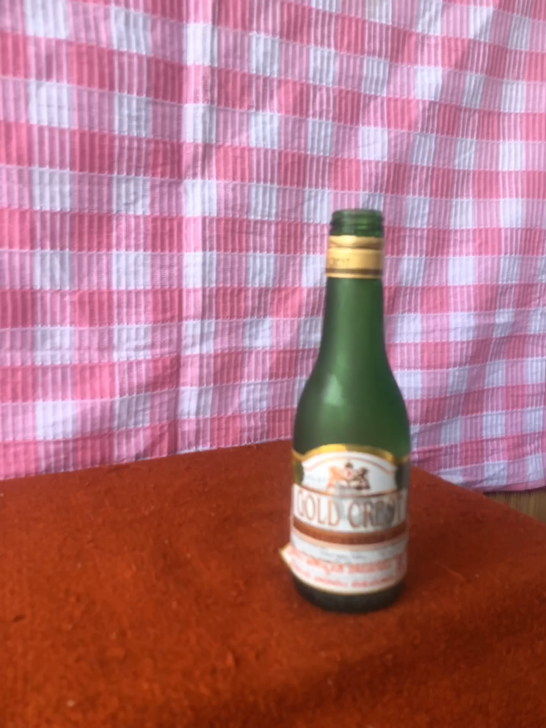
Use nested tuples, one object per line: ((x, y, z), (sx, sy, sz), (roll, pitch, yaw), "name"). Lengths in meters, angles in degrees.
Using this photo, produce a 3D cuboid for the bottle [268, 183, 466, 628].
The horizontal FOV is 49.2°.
((0.040, 0.014, 0.259), (0.060, 0.170, 0.060), (4, 10, -1), "bottle")
